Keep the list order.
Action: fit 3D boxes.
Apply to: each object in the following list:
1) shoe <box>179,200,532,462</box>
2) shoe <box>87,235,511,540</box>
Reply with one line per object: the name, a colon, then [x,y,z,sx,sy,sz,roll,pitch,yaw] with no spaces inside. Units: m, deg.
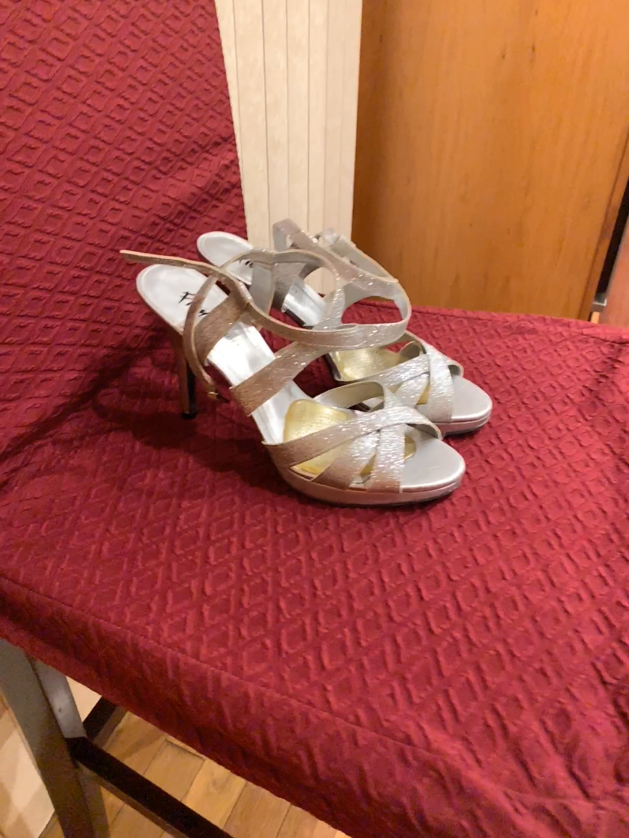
shoe: [0.028,-0.072,0.476,0.220,0.119,0.101,14,38,17]
shoe: [-0.007,-0.028,0.417,0.230,0.119,0.101,12,38,15]
